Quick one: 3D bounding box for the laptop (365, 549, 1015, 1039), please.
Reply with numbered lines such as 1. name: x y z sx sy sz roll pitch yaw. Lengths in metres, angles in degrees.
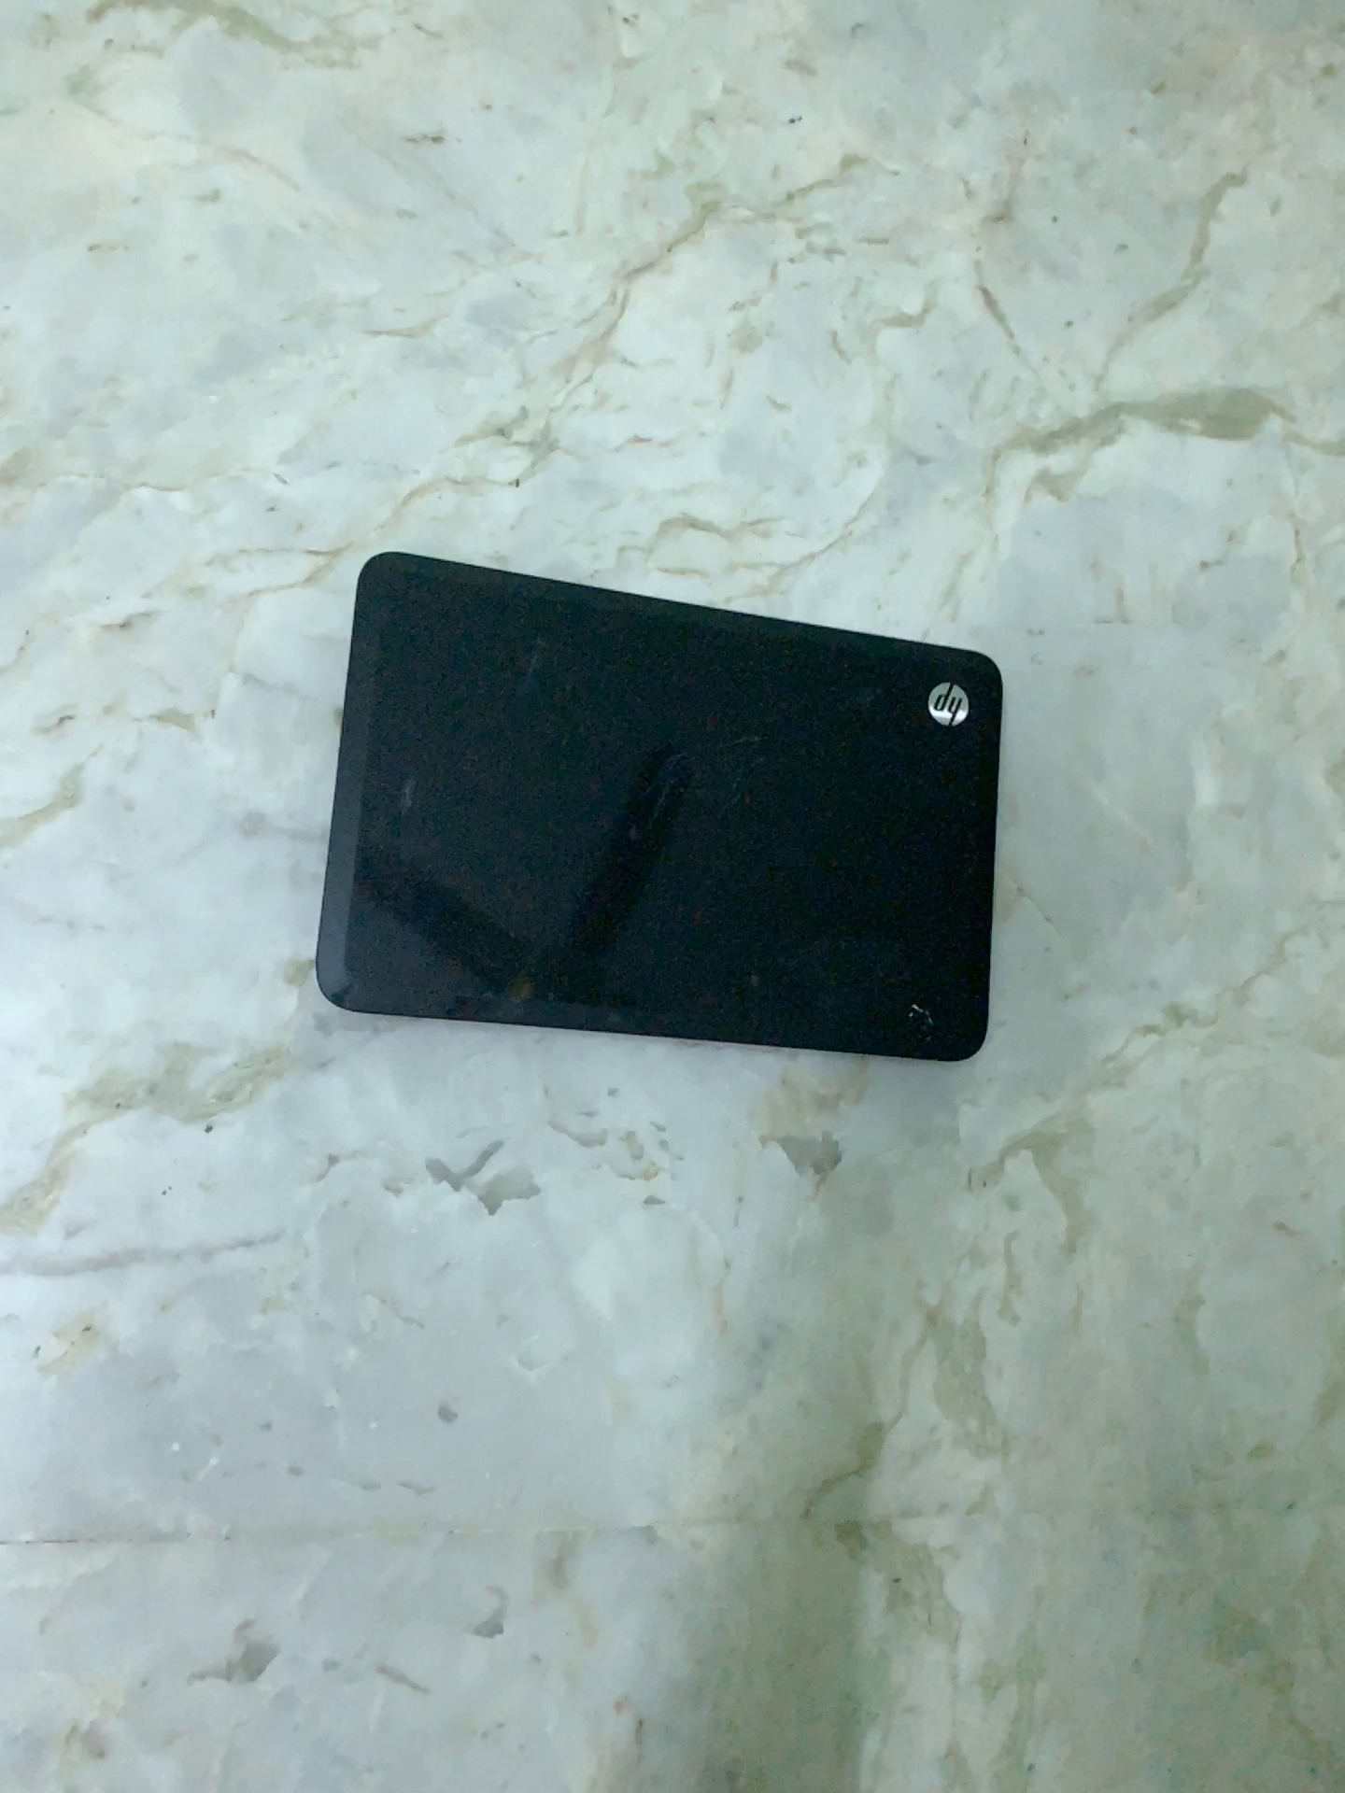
1. laptop: 0.020 -0.049 0.714 0.333 0.022 0.221 6 74 -14
